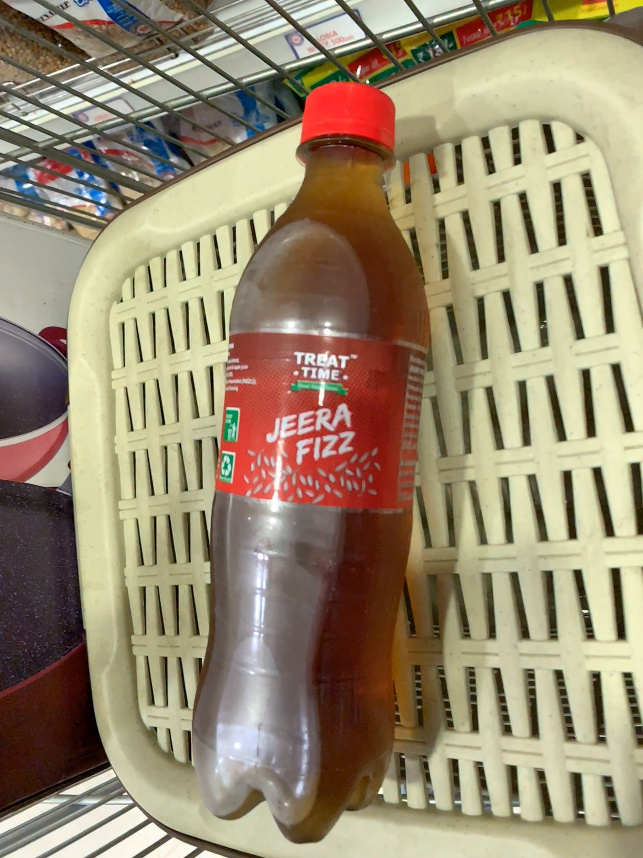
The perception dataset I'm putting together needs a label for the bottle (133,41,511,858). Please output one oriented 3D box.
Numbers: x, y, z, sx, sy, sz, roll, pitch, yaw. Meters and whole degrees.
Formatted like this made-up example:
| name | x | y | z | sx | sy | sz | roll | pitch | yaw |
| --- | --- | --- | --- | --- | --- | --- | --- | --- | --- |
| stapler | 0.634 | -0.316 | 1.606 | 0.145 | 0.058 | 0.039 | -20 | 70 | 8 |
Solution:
| name | x | y | z | sx | sy | sz | roll | pitch | yaw |
| --- | --- | --- | --- | --- | --- | --- | --- | --- | --- |
| bottle | 0.003 | 0.008 | 0.220 | 0.080 | 0.070 | 0.230 | 7 | 89 | 6 |
